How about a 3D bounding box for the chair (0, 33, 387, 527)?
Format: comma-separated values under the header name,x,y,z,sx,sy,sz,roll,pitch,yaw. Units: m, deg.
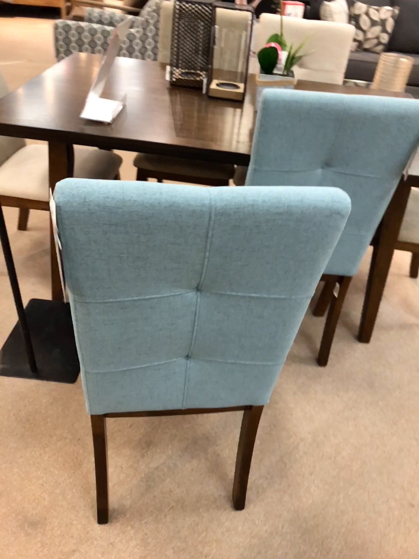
name,x,y,z,sx,sy,sz,roll,pitch,yaw
chair,-0.115,0.040,1.125,0.540,0.993,0.624,0,39,-9
